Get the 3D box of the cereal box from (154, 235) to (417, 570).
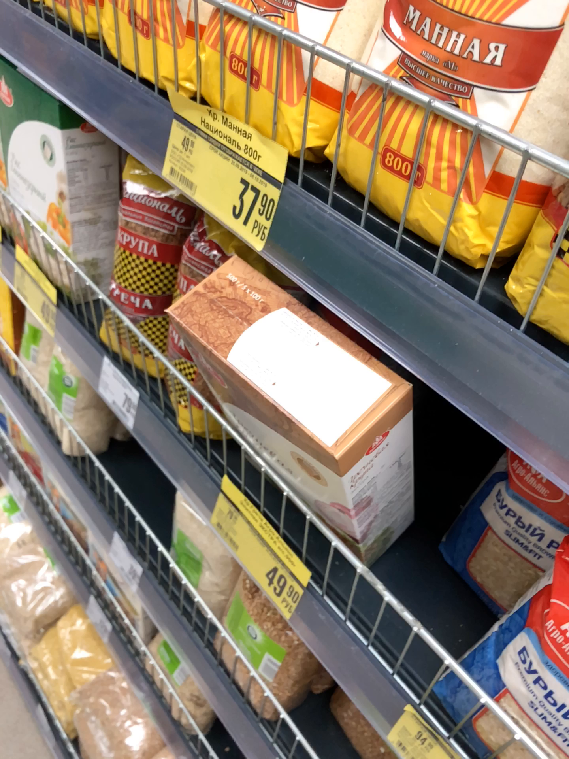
[{"bbox_3d":[0.012,0.026,0.397,0.050,0.199,0.140,-42,60,-14],"label":"cereal box"}]
